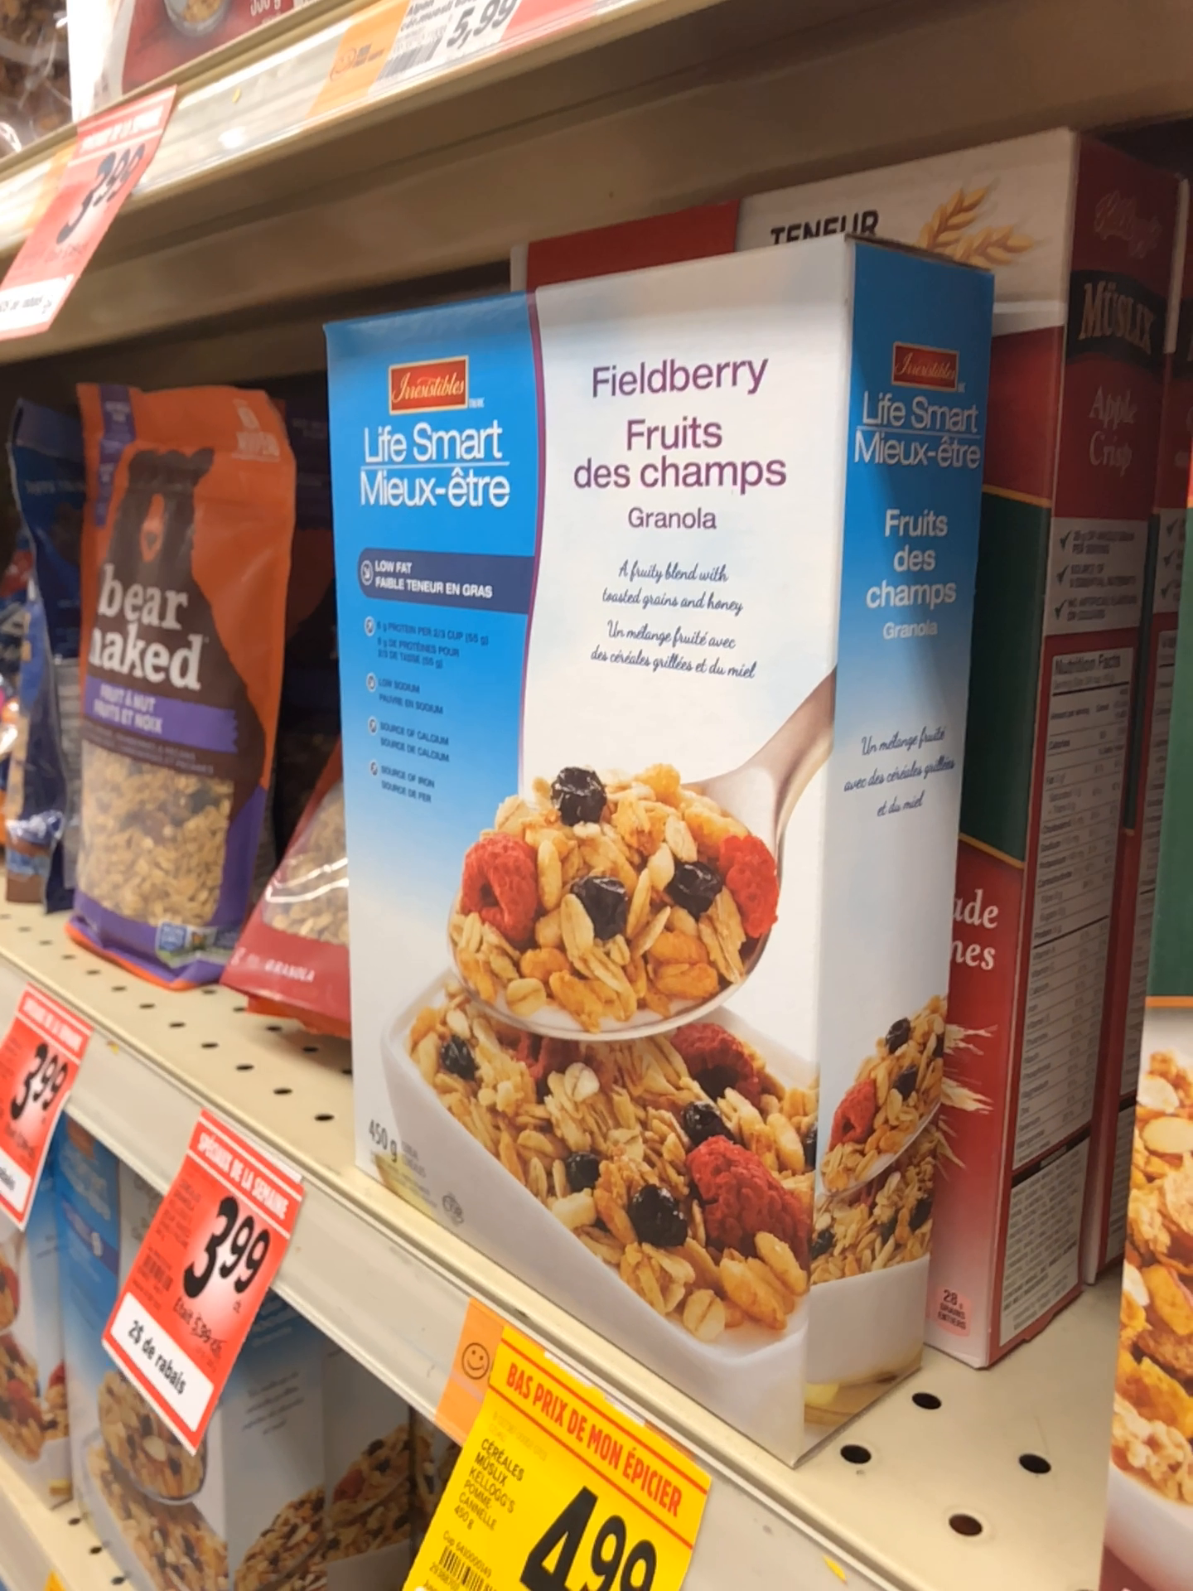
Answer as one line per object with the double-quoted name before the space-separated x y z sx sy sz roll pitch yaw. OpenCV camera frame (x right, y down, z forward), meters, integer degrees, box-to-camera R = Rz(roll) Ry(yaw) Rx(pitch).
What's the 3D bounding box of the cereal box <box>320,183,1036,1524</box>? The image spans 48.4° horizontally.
"cereal box" 0.004 0.004 0.309 0.050 0.239 0.170 -9 15 -40
